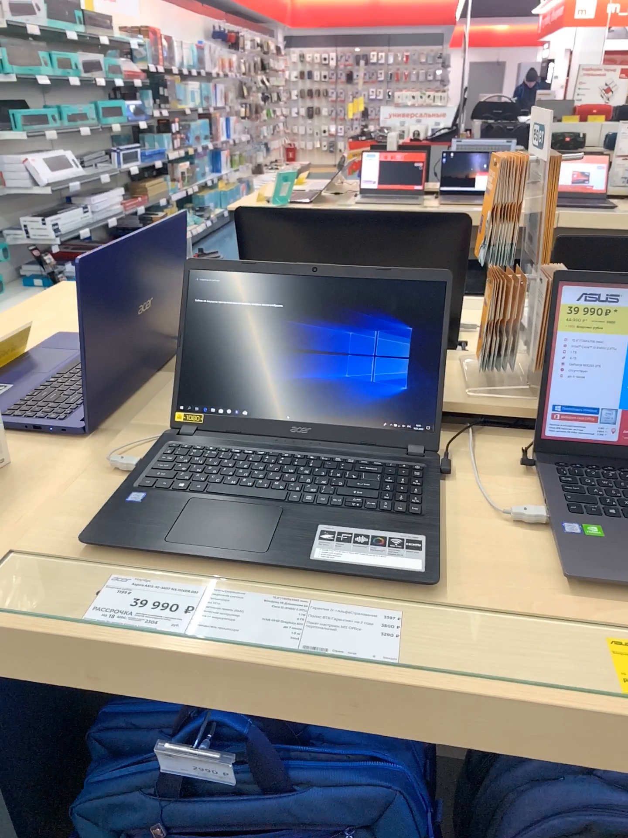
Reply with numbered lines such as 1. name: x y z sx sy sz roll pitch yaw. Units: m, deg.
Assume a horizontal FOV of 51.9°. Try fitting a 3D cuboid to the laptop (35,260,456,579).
1. laptop: -0.034 -0.035 0.776 0.376 0.216 0.377 4 26 8
